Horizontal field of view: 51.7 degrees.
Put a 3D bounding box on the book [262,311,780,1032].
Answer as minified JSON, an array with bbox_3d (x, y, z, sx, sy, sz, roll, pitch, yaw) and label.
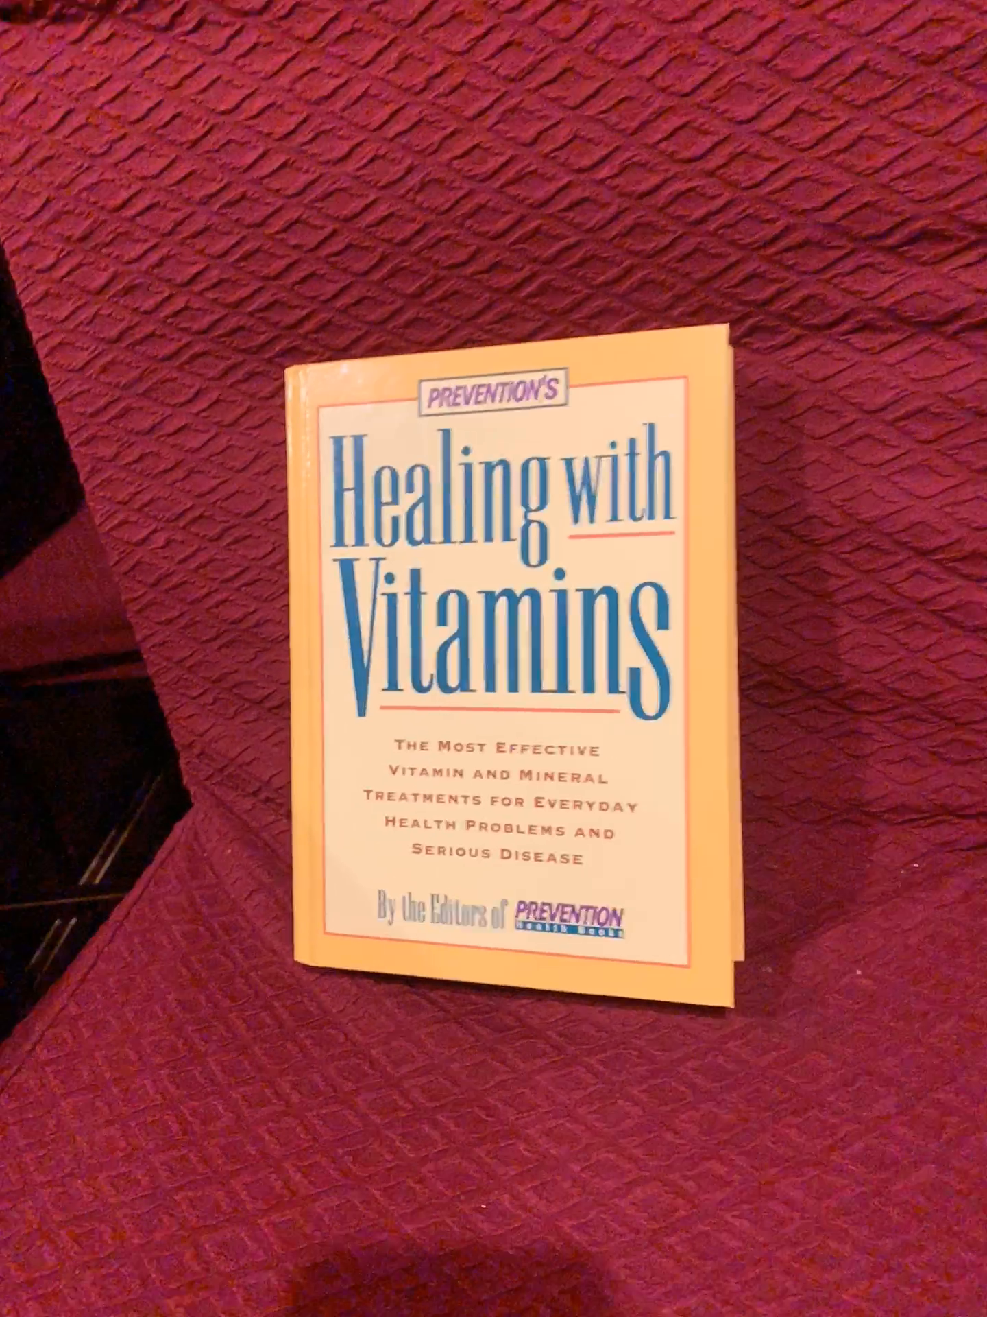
[{"bbox_3d":[0.008,0.005,0.388,0.190,0.240,0.040,-1,1,18],"label":"book"}]
